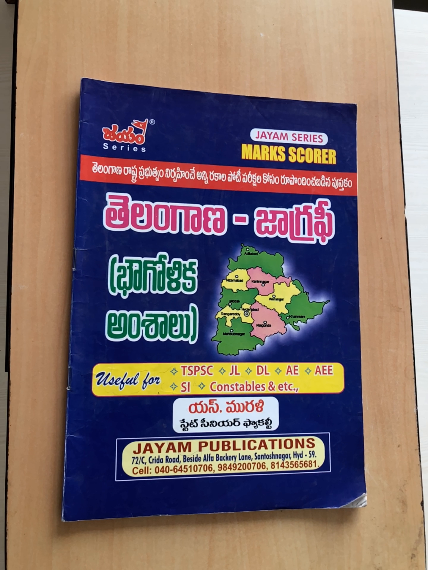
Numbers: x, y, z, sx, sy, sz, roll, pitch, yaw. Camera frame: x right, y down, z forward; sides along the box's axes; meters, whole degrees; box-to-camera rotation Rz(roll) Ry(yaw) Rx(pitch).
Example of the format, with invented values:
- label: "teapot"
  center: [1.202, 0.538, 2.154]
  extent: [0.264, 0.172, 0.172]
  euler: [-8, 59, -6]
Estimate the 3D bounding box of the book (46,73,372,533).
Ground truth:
- label: "book"
  center: [0.001, 0.008, 0.324]
  extent: [0.200, 0.040, 0.280]
  euler: [2, 83, -9]
